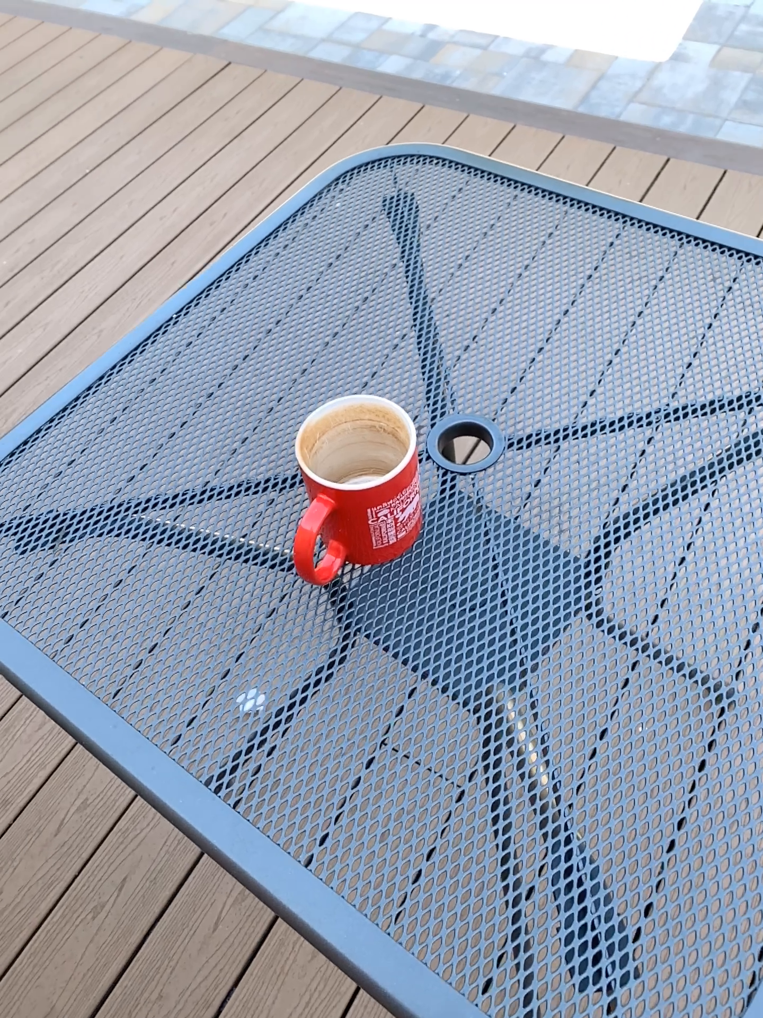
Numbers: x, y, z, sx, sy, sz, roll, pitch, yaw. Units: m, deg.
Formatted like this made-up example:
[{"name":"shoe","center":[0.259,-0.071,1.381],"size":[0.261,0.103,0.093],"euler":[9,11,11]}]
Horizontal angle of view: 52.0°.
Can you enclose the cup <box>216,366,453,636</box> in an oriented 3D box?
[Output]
[{"name":"cup","center":[-0.026,-0.007,0.568],"size":[0.100,0.100,0.140],"euler":[23,61,21]}]
